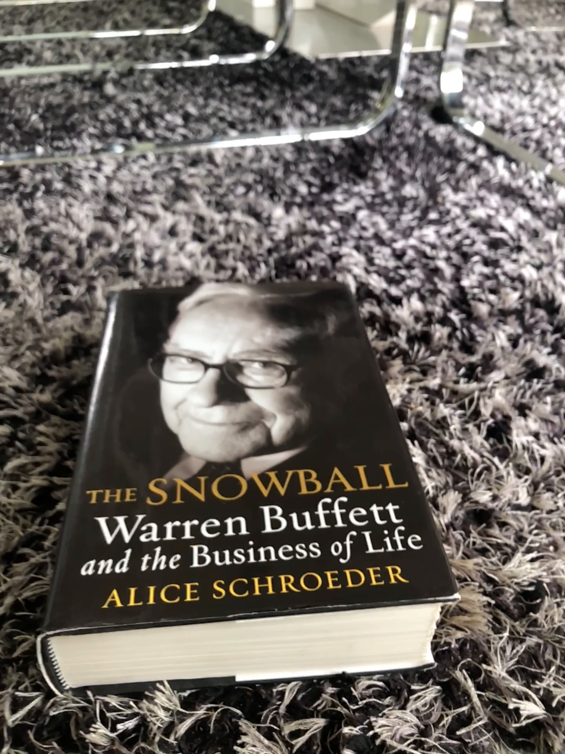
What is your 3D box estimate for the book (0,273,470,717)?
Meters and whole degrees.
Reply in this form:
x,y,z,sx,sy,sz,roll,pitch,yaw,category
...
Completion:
x,y,z,sx,sy,sz,roll,pitch,yaw,category
-0.032,0.034,0.350,0.180,0.060,0.251,-2,39,-6,book
